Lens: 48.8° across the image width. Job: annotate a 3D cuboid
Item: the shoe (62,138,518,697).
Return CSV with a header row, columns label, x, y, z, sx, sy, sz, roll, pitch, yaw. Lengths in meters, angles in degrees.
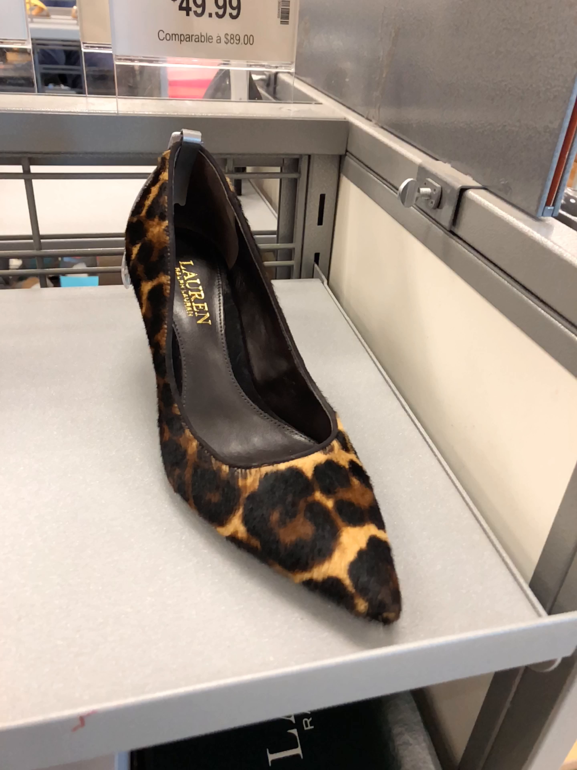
label,x,y,z,sx,sy,sz,roll,pitch,yaw
shoe,-0.034,-0.021,0.312,0.090,0.129,0.272,-11,36,-24
